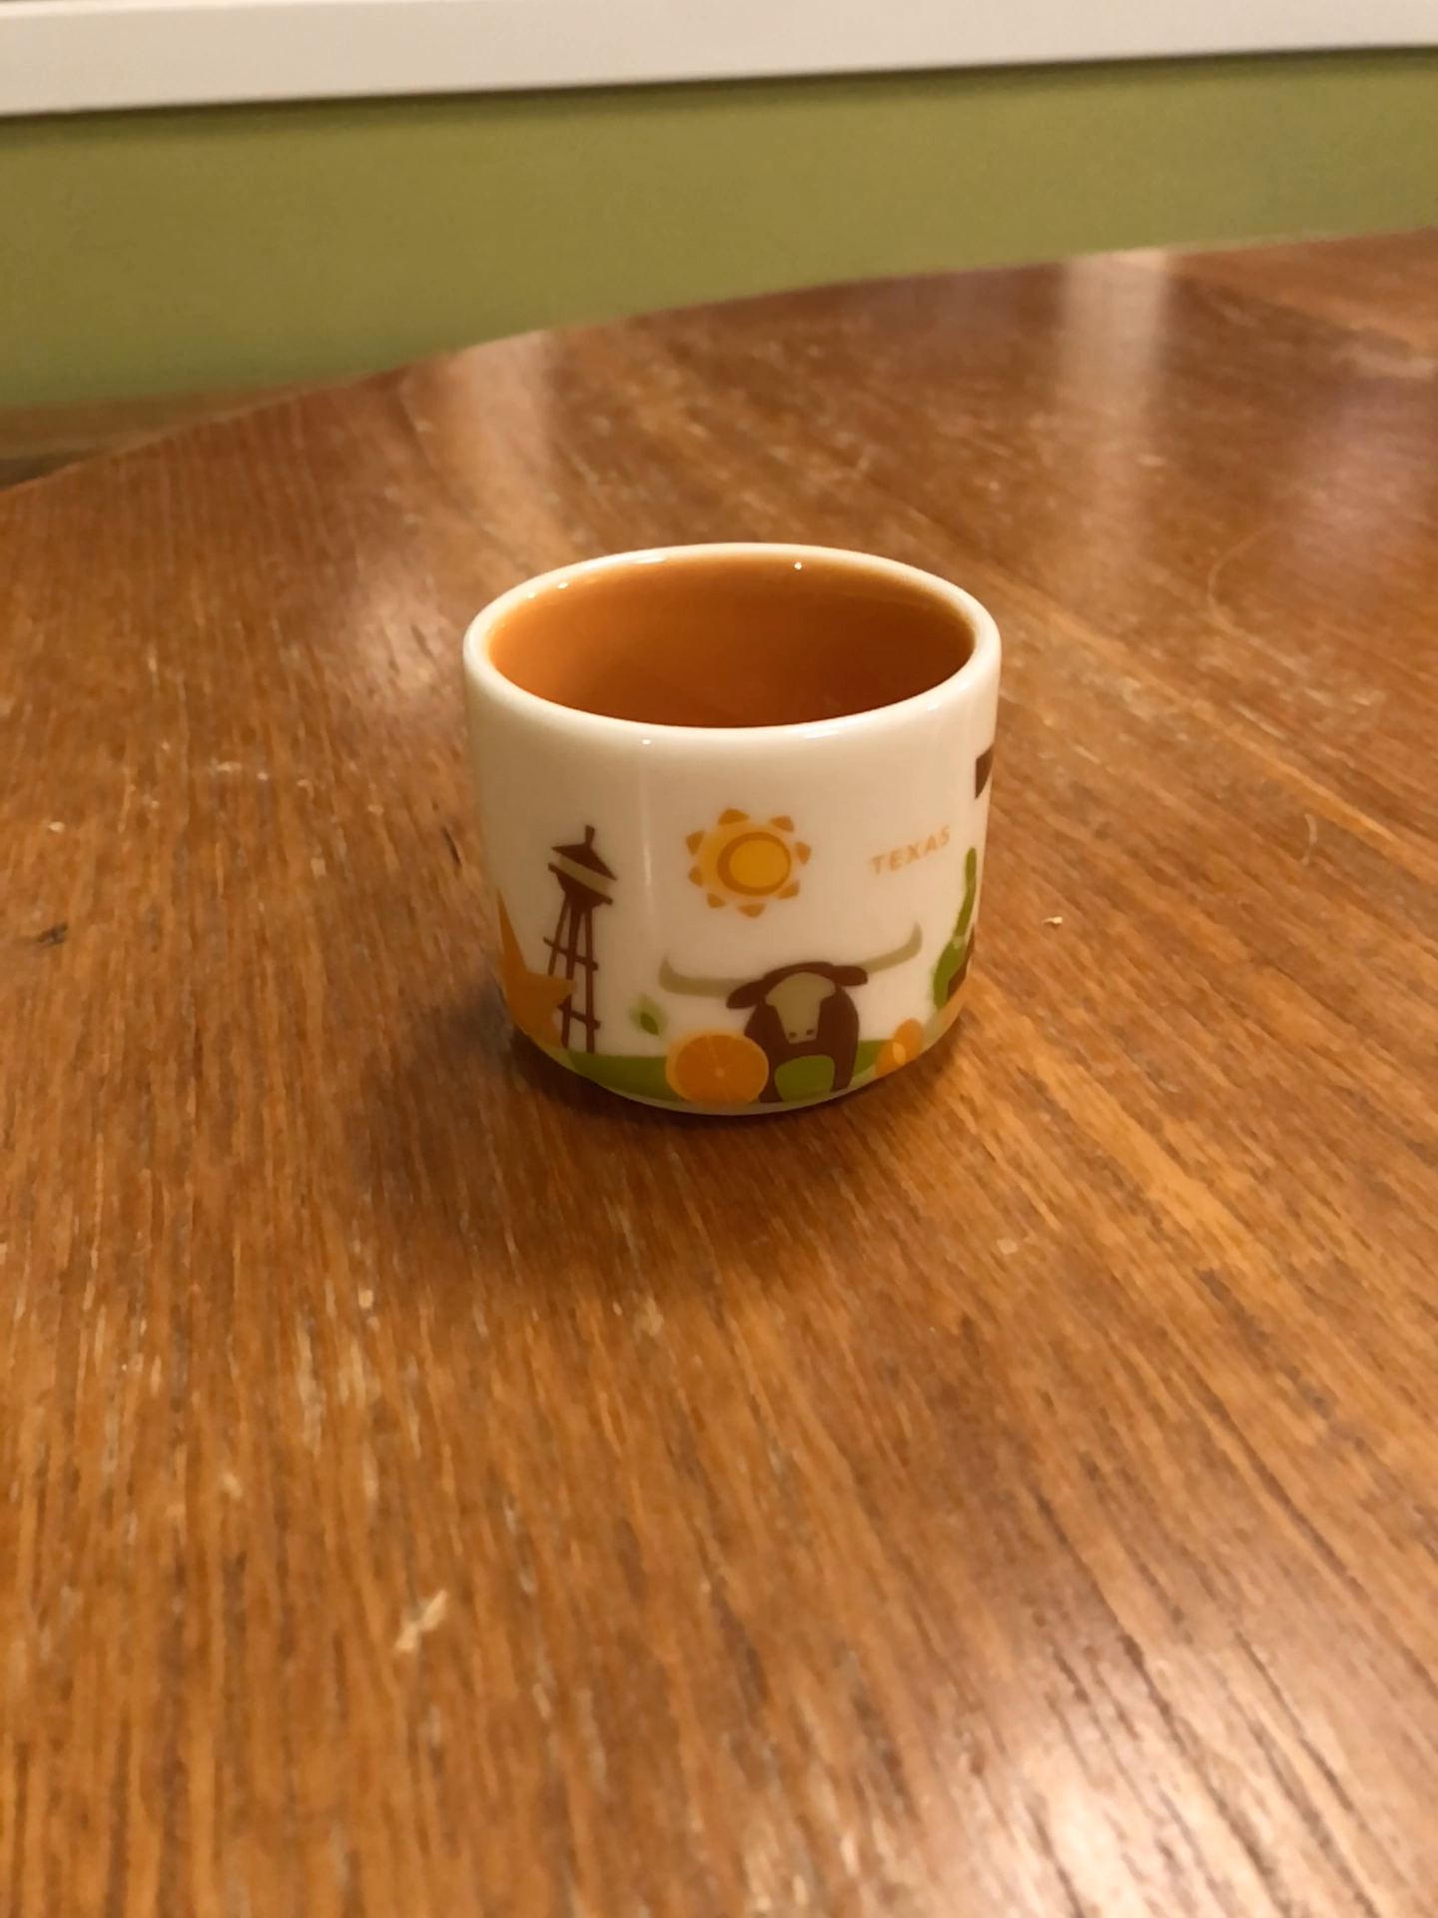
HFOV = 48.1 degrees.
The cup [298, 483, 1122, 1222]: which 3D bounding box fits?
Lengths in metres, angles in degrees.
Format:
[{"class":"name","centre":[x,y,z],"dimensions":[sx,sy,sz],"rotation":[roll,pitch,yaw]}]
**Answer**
[{"class":"cup","centre":[0.003,-0.020,0.199],"dimensions":[0.059,0.049,0.080],"rotation":[20,38,31]}]
